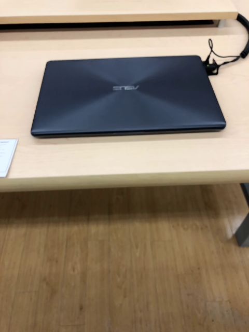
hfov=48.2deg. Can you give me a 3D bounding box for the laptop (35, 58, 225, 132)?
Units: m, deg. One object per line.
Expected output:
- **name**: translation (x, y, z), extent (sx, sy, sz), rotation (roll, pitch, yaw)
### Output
- **laptop**: translation (0.003, -0.158, 0.578), extent (0.345, 0.002, 0.229), rotation (-3, 51, -1)
